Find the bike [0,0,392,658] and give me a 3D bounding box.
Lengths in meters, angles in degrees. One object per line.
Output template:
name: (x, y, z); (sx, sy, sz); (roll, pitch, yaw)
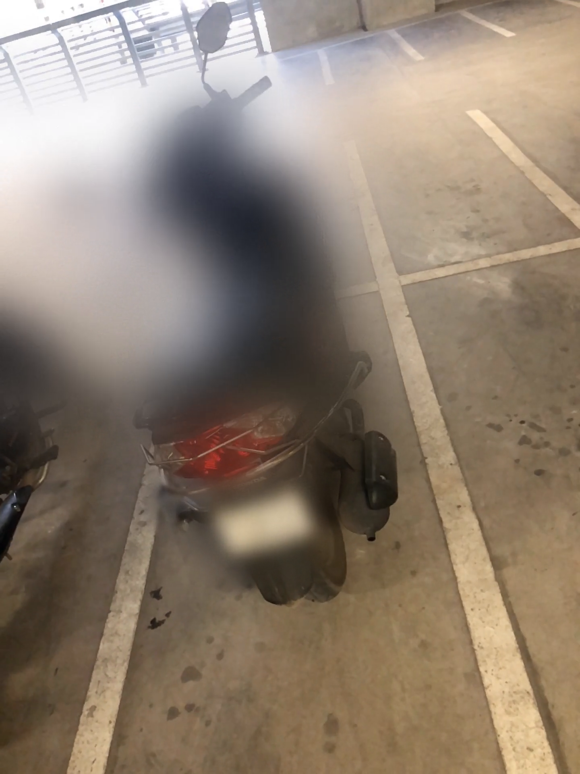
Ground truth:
bike: (-0.232, -0.421, 2.151); (0.582, 1.187, 1.961); (-13, 39, 5)
